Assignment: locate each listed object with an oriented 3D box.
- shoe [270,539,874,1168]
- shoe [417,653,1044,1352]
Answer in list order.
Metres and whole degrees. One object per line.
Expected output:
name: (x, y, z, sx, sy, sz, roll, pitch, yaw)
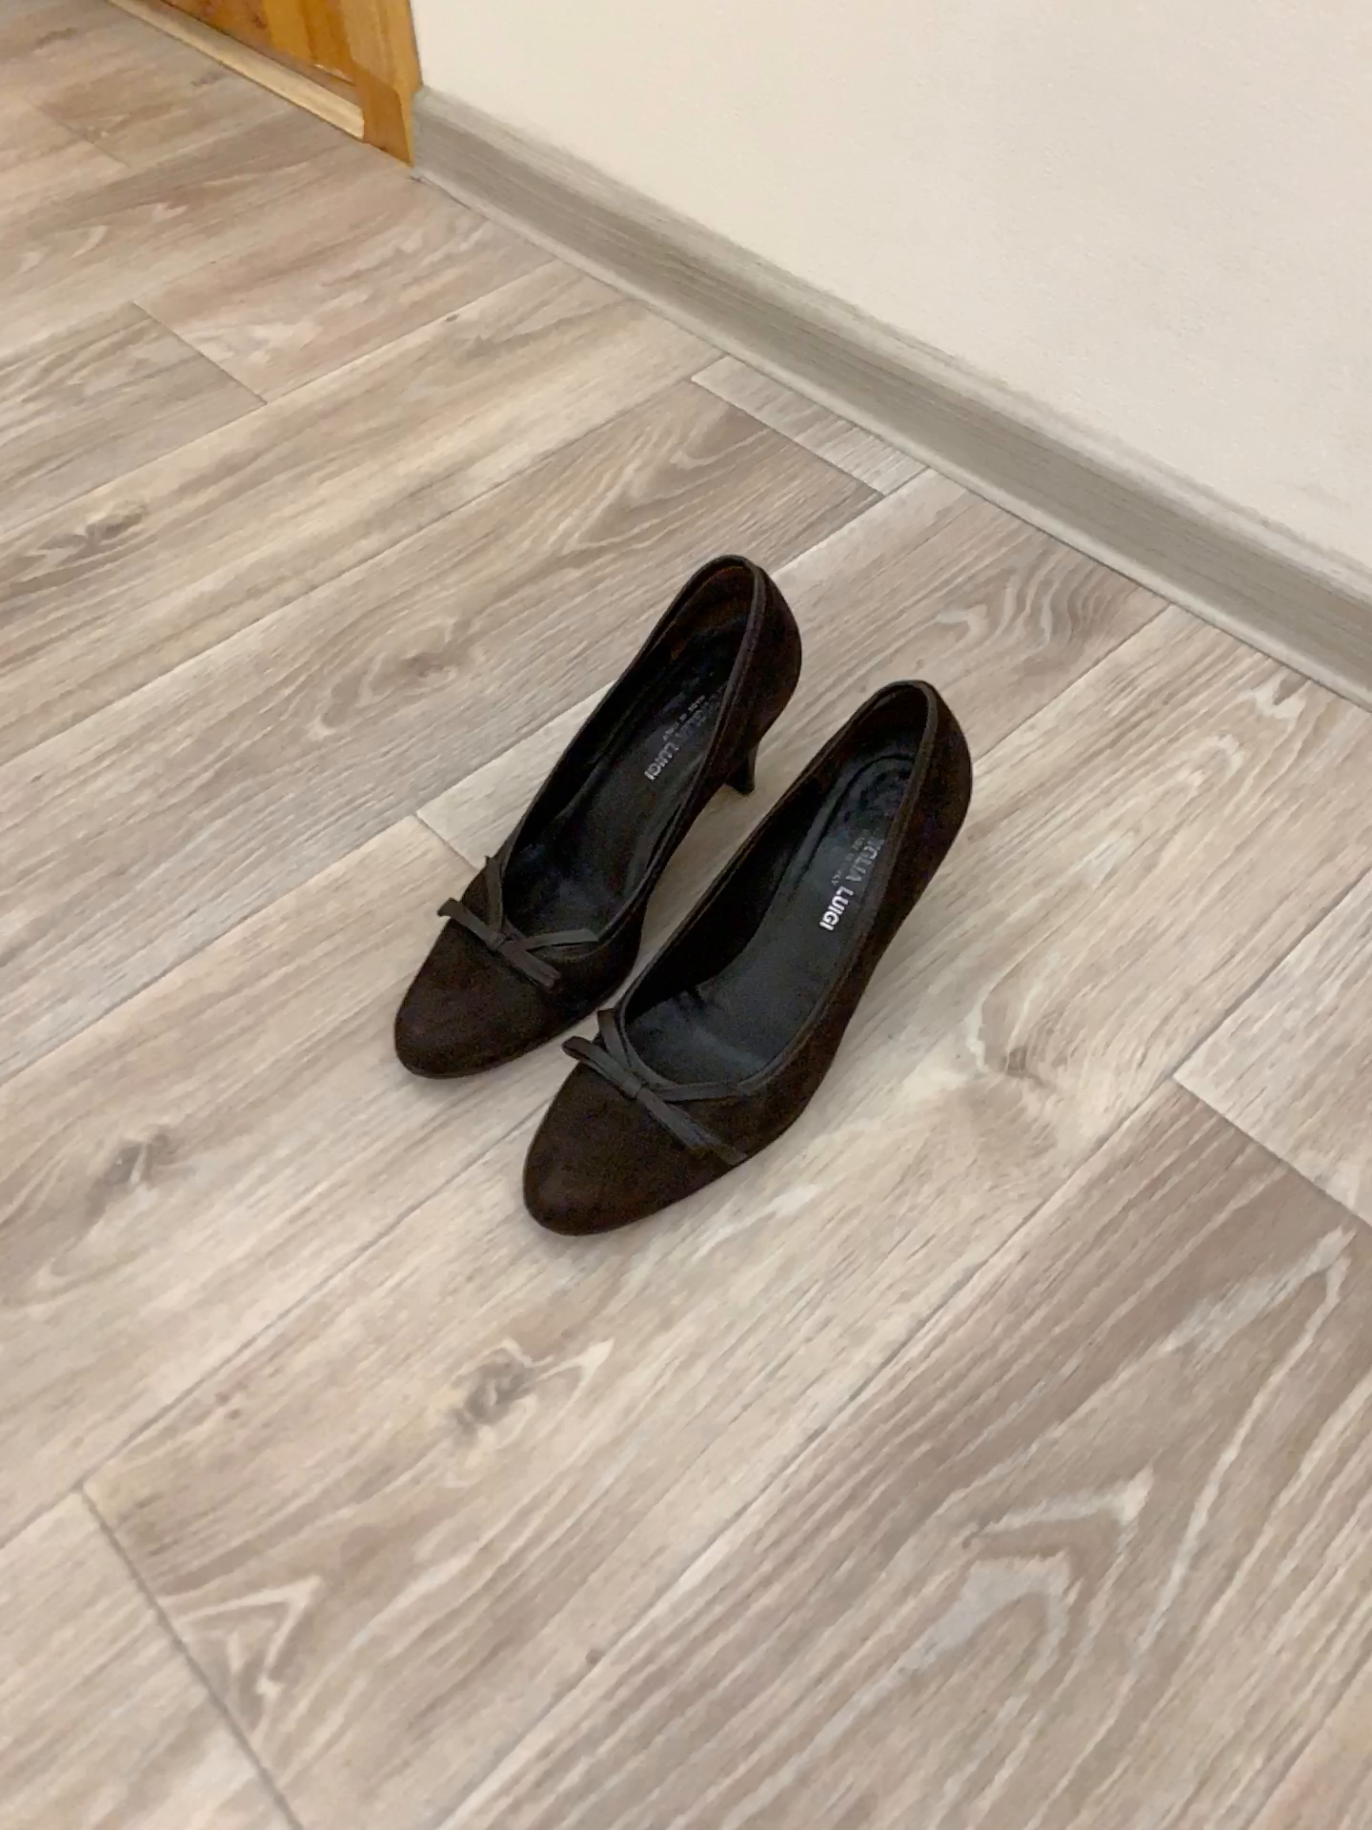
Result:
shoe: (-0.035, -0.032, 0.593, 0.080, 0.110, 0.261, 34, 62, 23)
shoe: (0.027, 0.027, 0.548, 0.080, 0.110, 0.261, 33, 61, 23)
